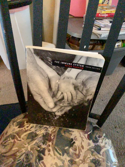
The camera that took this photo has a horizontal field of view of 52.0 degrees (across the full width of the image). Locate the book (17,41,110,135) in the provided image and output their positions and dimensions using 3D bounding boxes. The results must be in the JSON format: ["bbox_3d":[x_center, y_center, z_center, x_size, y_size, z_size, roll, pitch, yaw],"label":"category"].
[{"bbox_3d":[-0.008,0.027,0.381,0.220,0.269,0.040,7,29,5],"label":"book"}]
